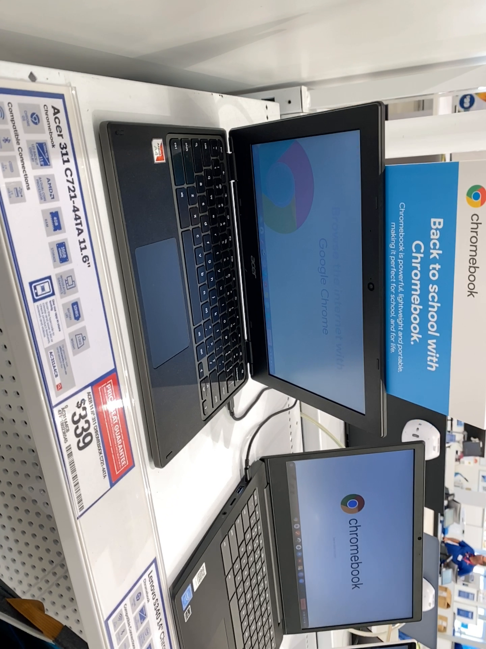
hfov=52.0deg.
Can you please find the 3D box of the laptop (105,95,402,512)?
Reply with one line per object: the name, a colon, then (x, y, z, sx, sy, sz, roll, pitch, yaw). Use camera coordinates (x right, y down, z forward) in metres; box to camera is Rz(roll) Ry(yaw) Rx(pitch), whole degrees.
laptop: (0.036, -0.031, 0.456, 0.201, 0.181, 0.289, -37, 125, -59)
